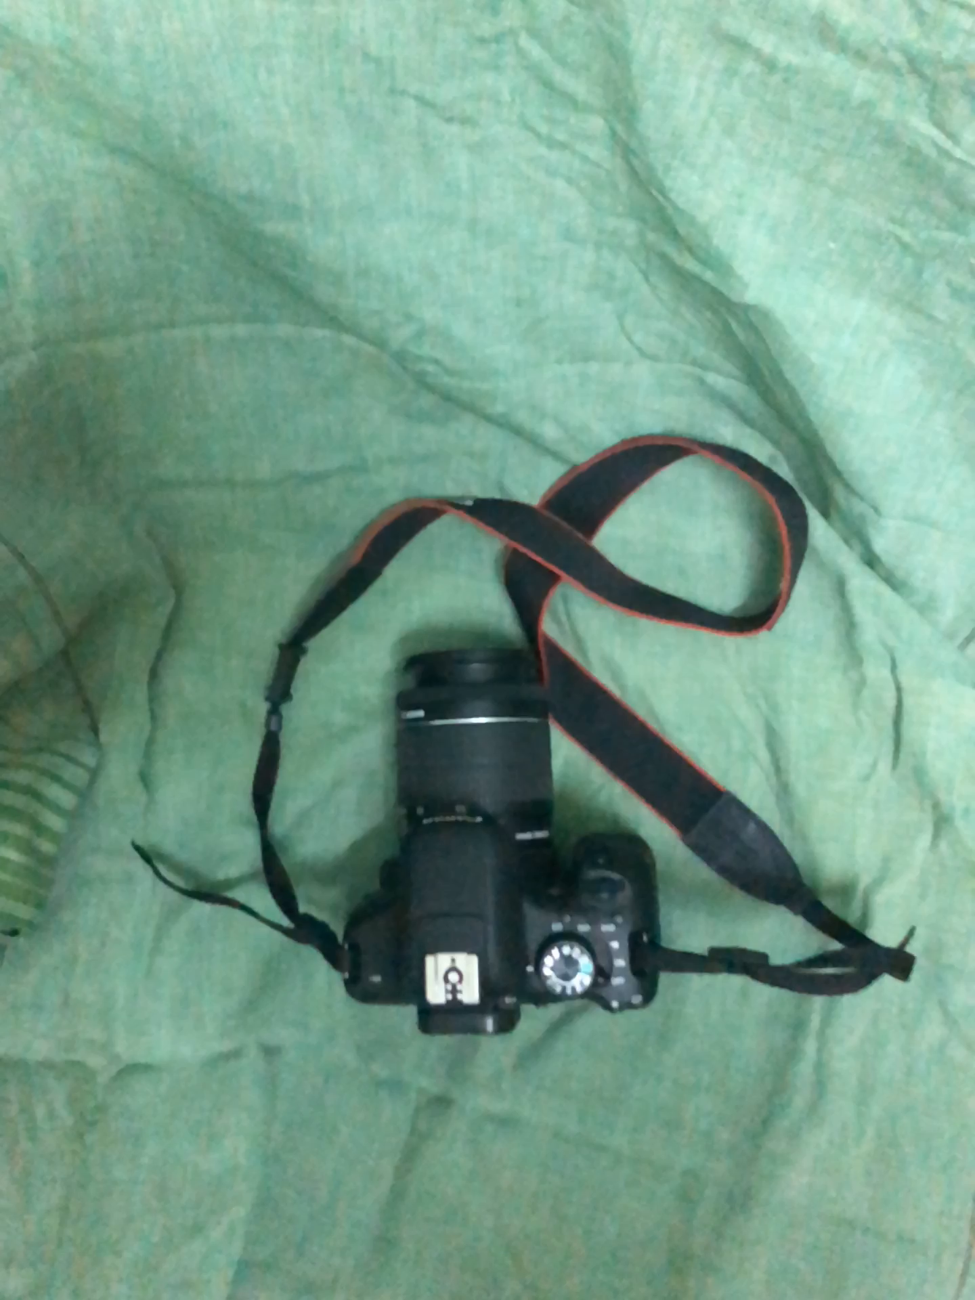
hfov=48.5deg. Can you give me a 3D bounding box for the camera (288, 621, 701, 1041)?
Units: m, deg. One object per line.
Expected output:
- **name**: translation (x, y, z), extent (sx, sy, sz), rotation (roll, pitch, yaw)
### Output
- **camera**: translation (0.005, 0.070, 0.443), extent (0.142, 0.100, 0.144), rotation (-4, 85, 5)
